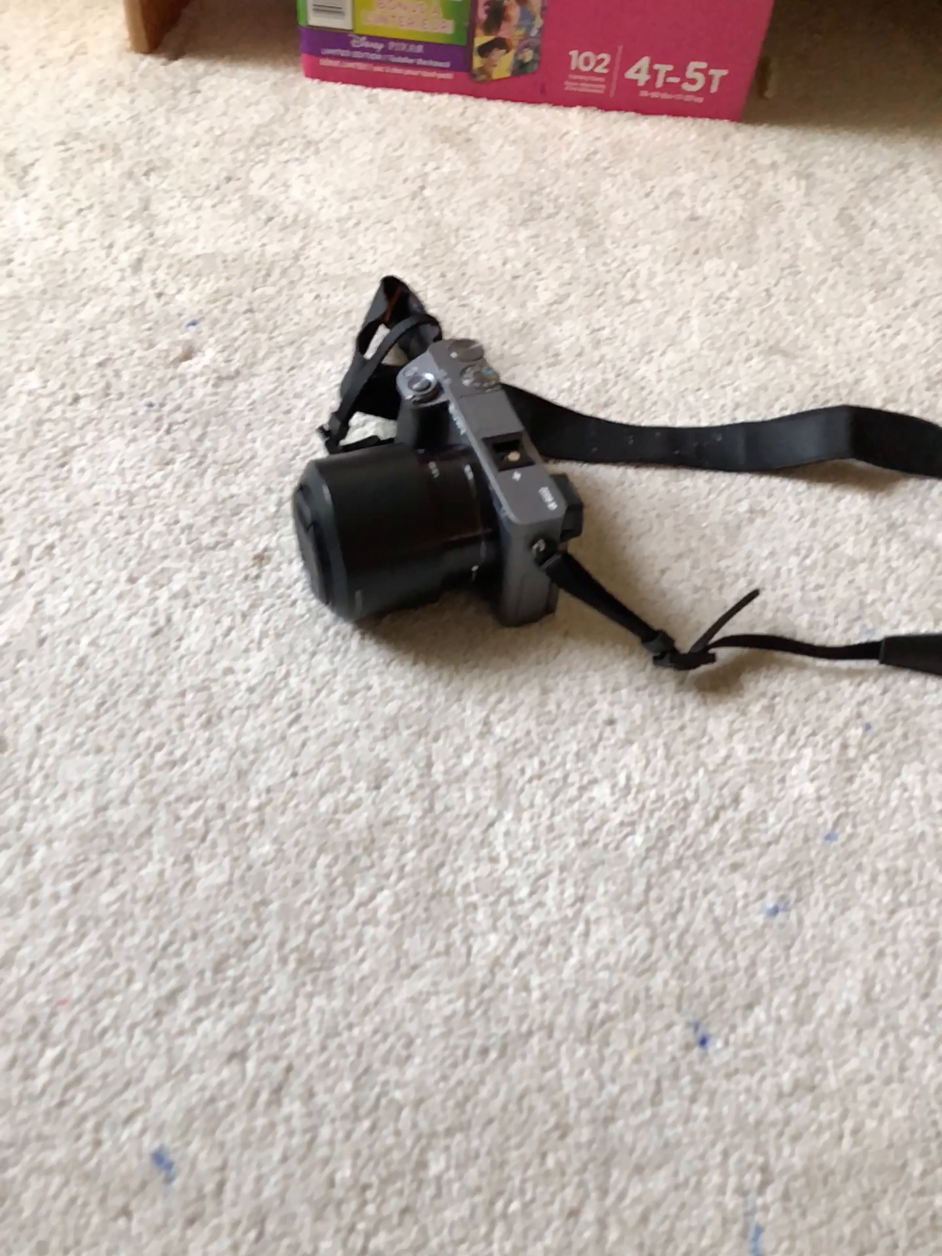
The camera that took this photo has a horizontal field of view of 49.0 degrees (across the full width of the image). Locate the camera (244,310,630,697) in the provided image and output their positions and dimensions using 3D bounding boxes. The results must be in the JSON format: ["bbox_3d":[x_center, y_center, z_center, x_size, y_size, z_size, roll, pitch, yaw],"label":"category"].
[{"bbox_3d":[-0.021,-0.059,0.447,0.120,0.080,0.130,-13,53,-16],"label":"camera"}]
